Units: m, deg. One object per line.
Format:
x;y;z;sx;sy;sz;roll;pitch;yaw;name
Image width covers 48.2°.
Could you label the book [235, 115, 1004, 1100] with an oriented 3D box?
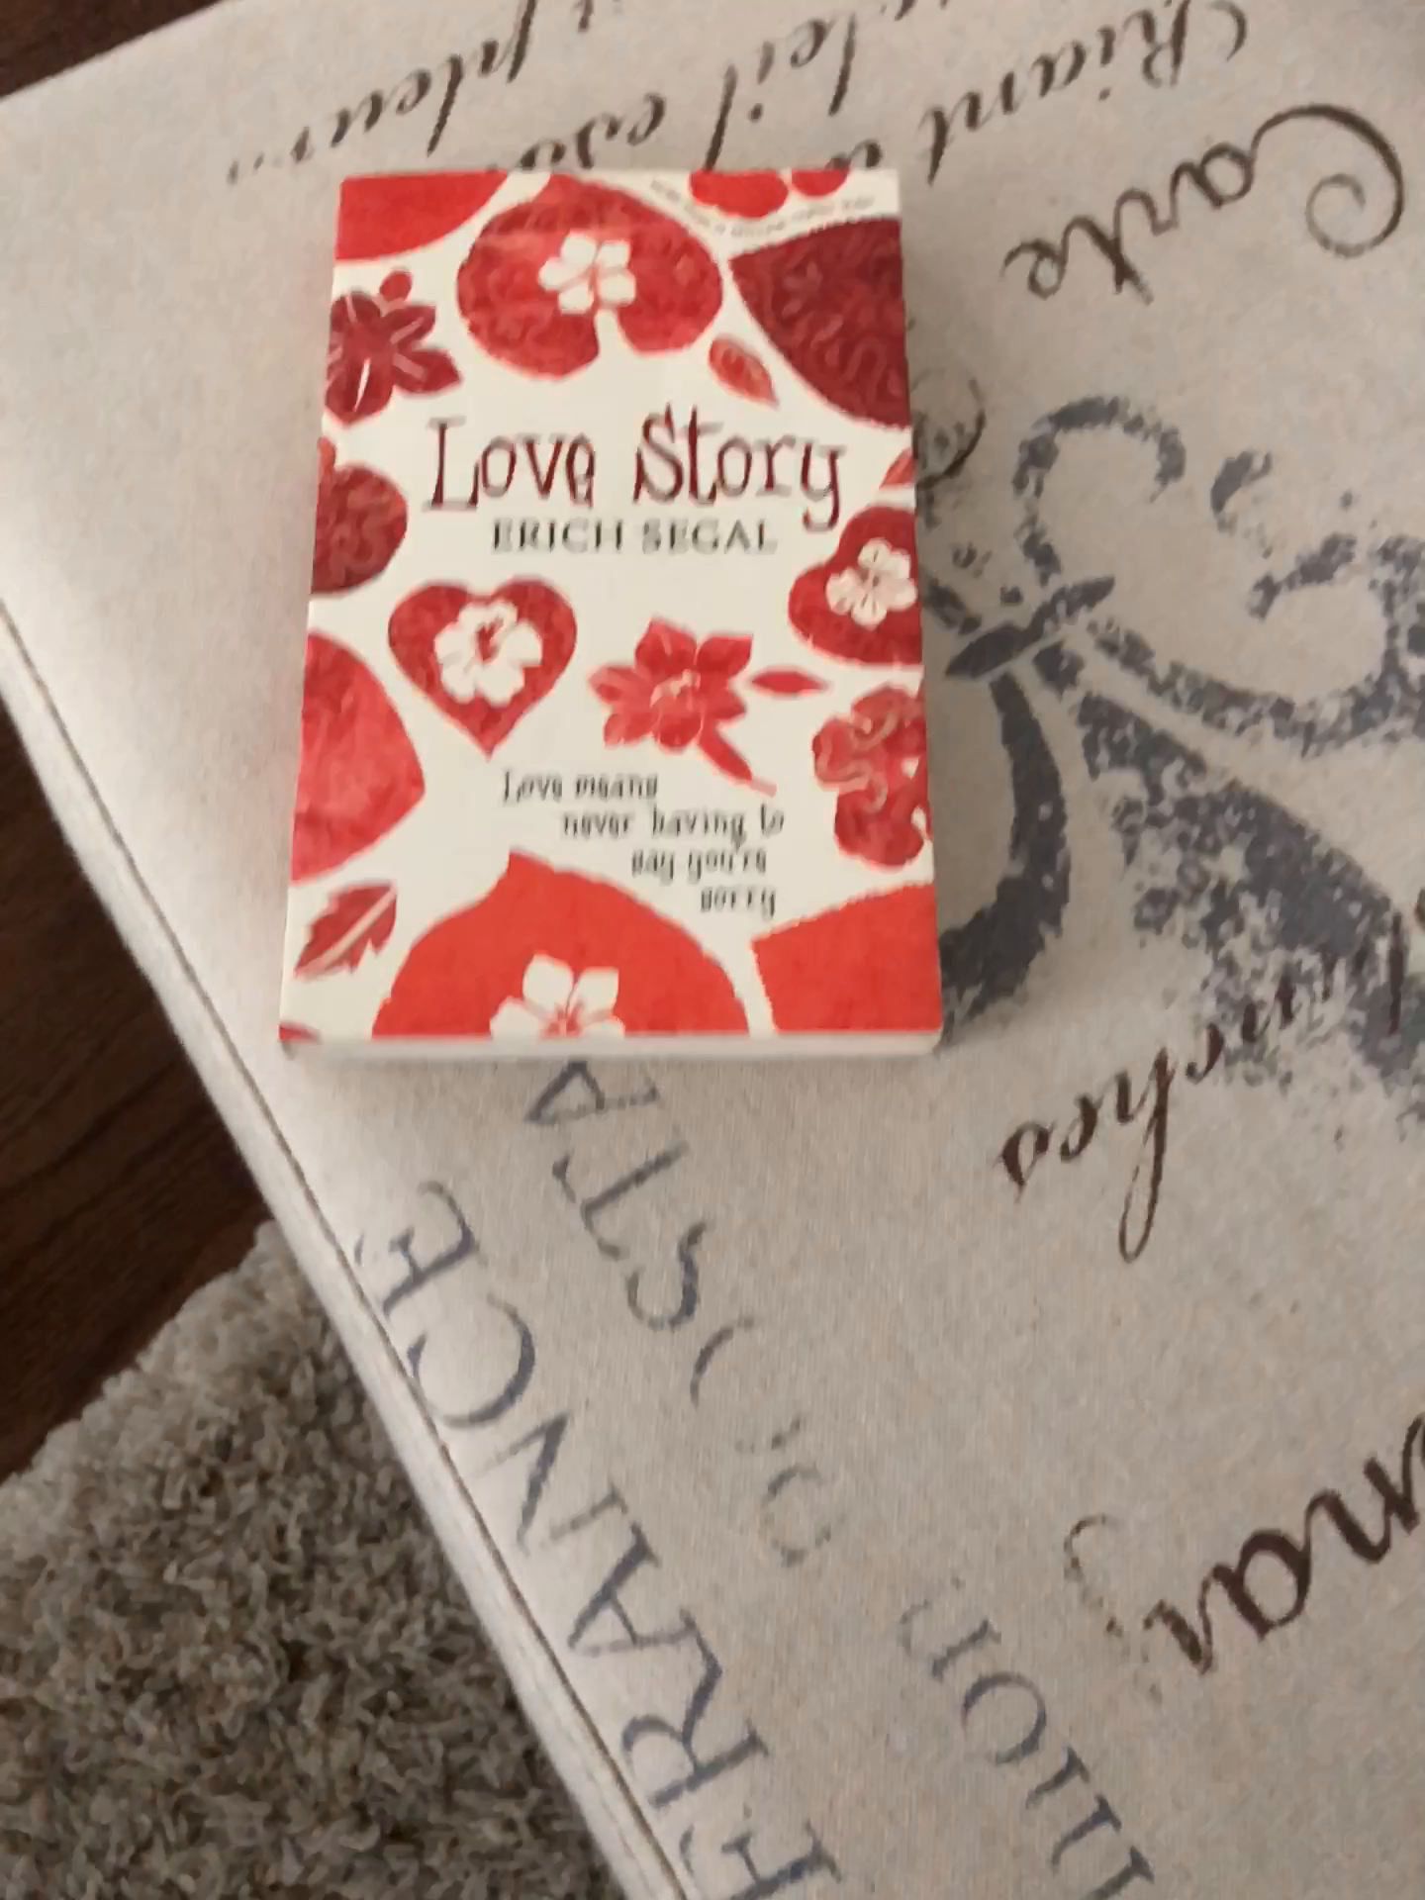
-0.016;-0.068;0.287;0.120;0.020;0.188;-1;72;-2;book
